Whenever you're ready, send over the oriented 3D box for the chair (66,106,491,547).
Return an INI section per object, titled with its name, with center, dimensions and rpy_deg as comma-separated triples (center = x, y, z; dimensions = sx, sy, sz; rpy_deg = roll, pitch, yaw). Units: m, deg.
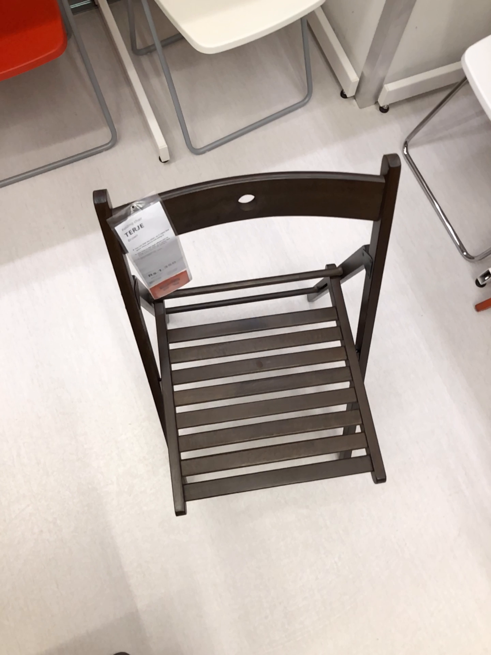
[chair]
center = 0.018, 0.063, 1.043
dimensions = 0.460, 0.779, 0.501
rpy_deg = -8, 76, -4
